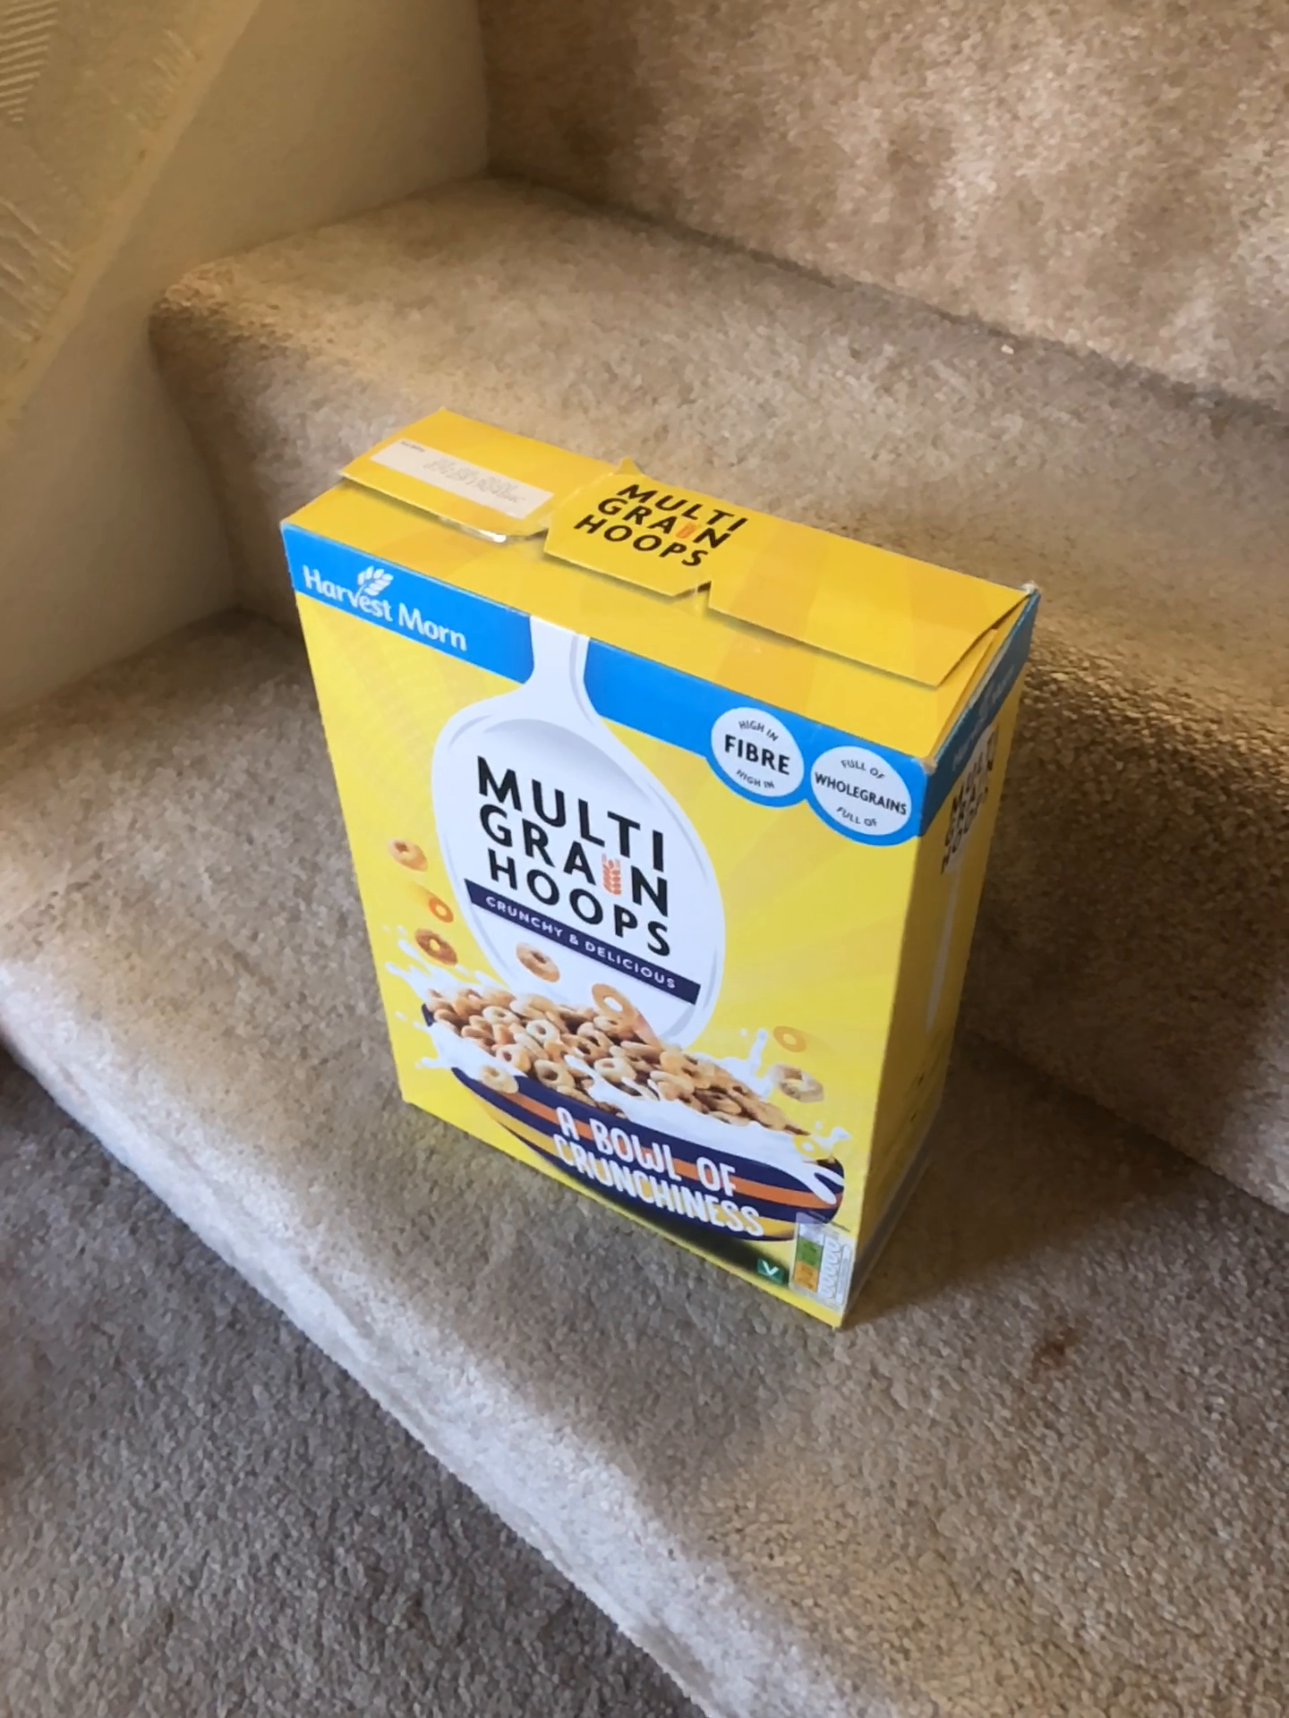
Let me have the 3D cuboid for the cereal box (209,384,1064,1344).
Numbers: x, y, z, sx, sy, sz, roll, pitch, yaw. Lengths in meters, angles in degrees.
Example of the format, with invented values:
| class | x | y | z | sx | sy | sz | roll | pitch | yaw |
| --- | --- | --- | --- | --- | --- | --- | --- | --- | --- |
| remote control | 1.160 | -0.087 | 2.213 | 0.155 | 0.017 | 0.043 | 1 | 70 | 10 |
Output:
| class | x | y | z | sx | sy | sz | roll | pitch | yaw |
| --- | --- | --- | --- | --- | --- | --- | --- | --- | --- |
| cereal box | -0.003 | 0.009 | 0.451 | 0.200 | 0.248 | 0.090 | 23 | 50 | 22 |
